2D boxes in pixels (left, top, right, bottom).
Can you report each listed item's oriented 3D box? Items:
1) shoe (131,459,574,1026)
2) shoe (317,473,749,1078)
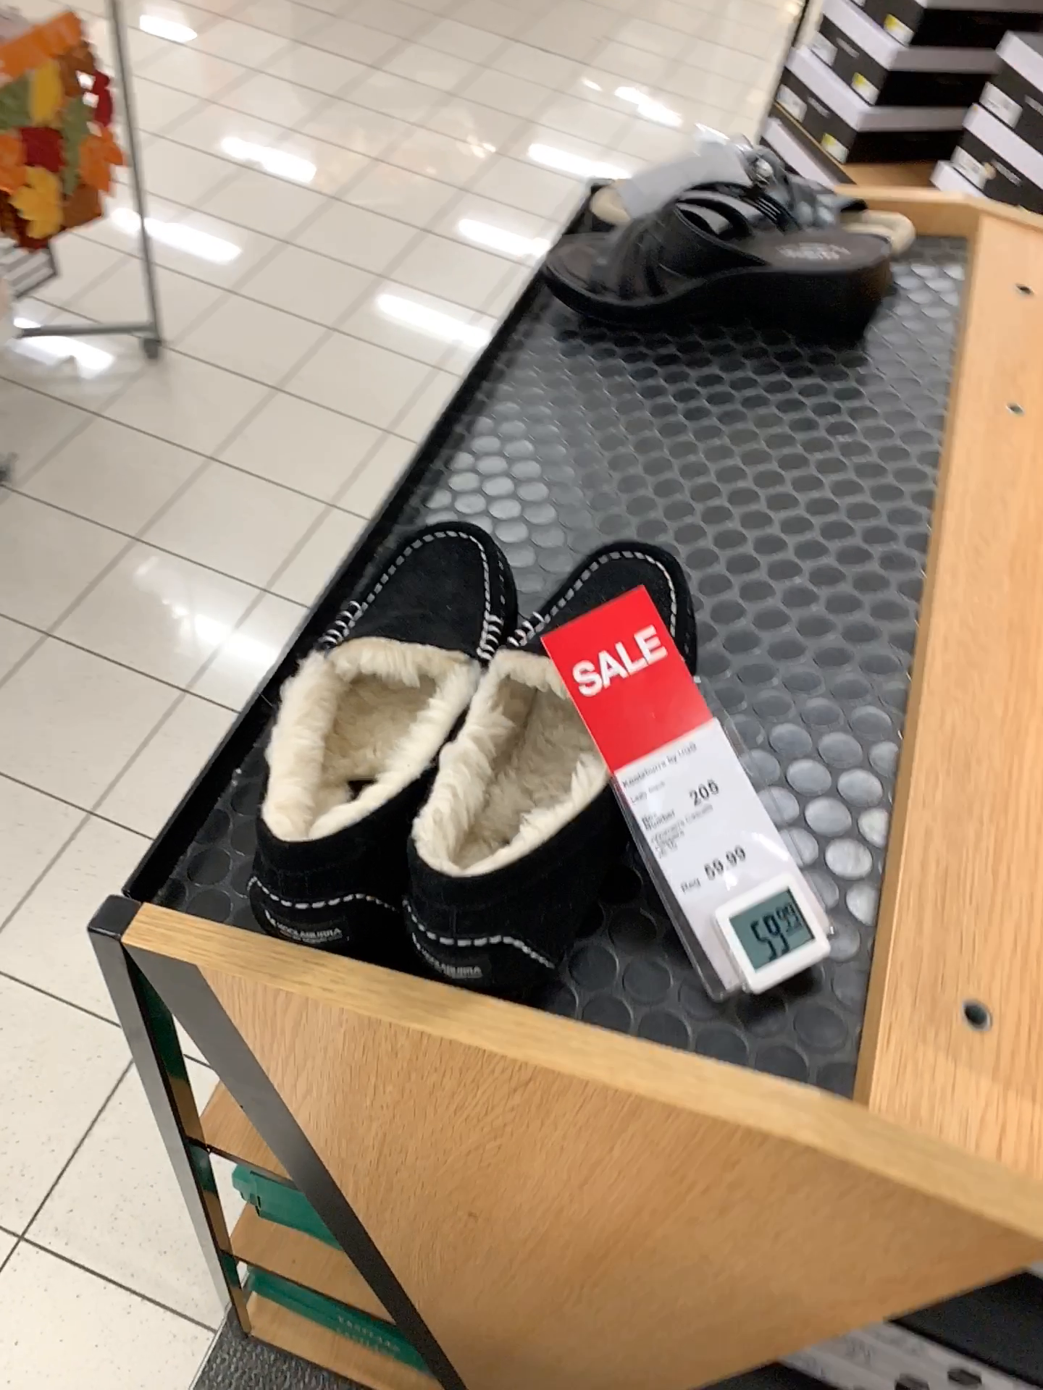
[{"bbox_3d":[-0.056,0.005,0.483,0.086,0.090,0.251,6,48,19],"label":"shoe"},{"bbox_3d":[0.024,0.017,0.458,0.086,0.090,0.251,10,48,22],"label":"shoe"}]
